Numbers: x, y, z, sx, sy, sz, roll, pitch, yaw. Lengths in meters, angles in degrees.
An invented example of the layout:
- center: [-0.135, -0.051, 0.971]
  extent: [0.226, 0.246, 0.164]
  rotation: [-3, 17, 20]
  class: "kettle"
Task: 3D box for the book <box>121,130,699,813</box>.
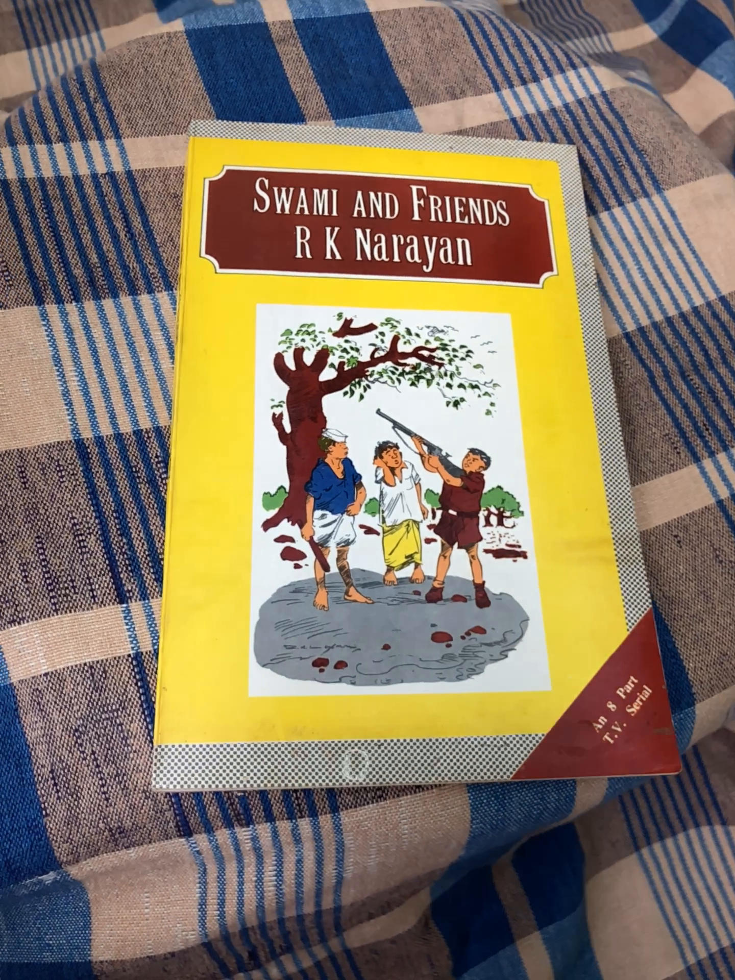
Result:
- center: [0.008, -0.015, 0.228]
  extent: [0.130, 0.020, 0.190]
  rotation: [1, 68, -6]
  class: "book"
